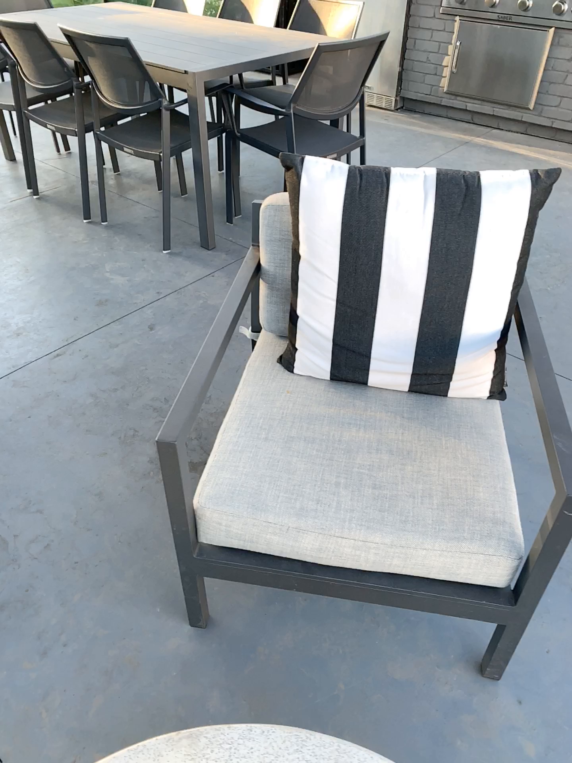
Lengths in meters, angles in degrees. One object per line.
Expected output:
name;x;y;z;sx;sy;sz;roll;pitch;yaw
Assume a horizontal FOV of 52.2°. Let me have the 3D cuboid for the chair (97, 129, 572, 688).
chair;0.180;0.015;1.222;0.730;0.796;0.754;6;39;7
